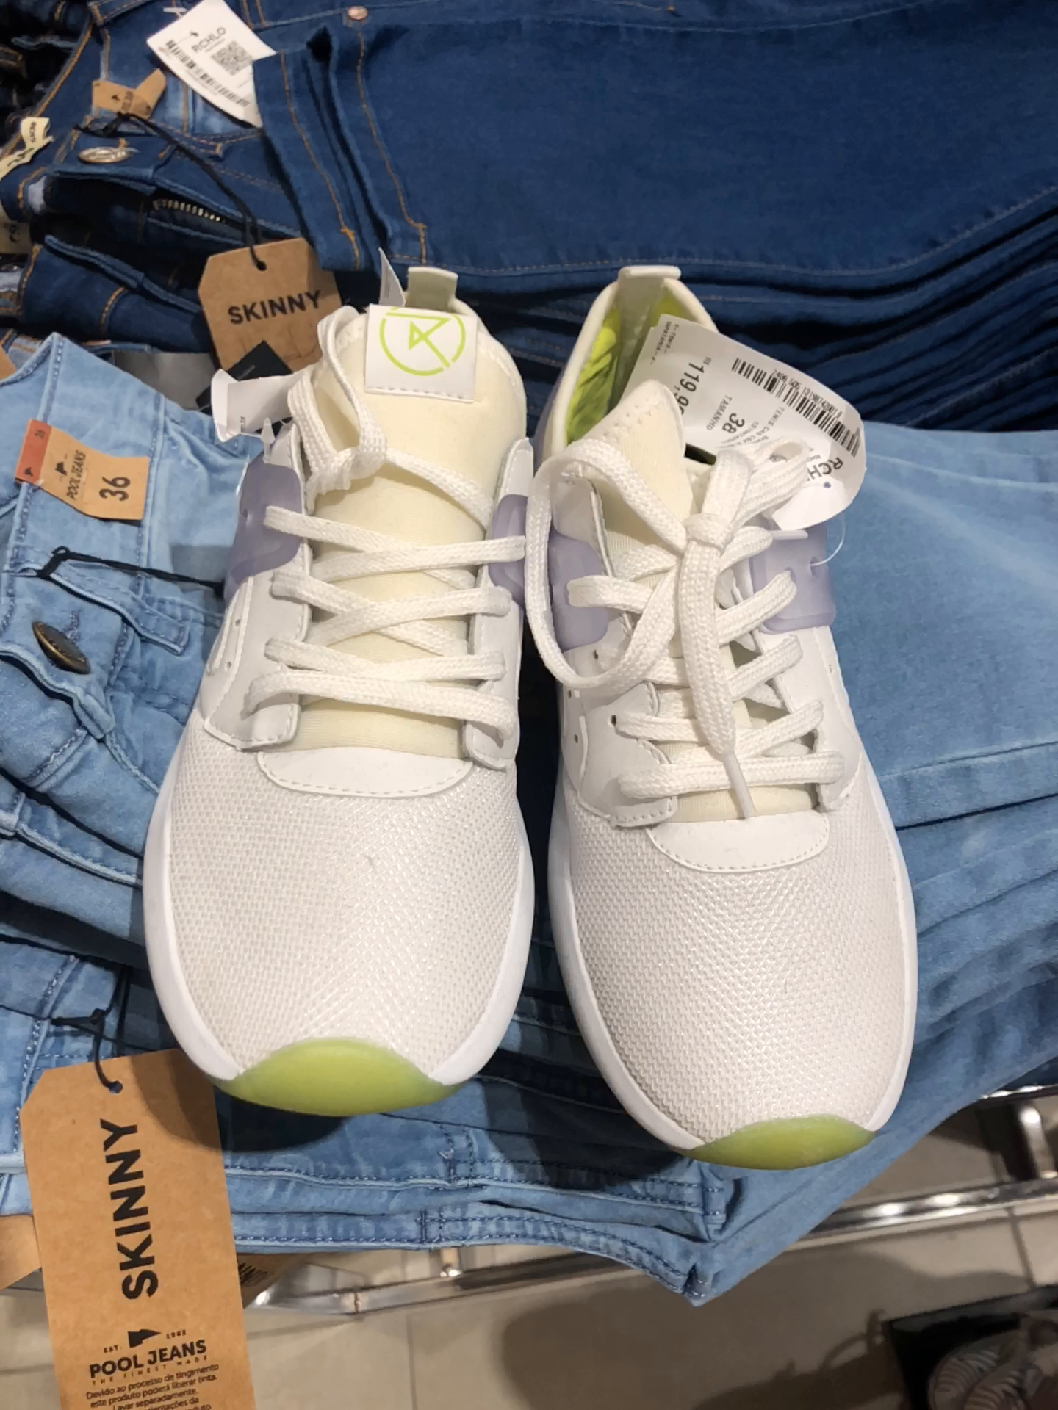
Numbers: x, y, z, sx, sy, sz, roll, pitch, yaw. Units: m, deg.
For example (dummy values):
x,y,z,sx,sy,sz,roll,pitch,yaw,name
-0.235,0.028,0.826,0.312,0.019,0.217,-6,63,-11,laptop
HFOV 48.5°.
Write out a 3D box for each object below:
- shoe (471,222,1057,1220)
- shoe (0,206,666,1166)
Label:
x,y,z,sx,sy,sz,roll,pitch,yaw,name
0.049,-0.005,0.322,0.100,0.090,0.251,-7,61,0,shoe
-0.043,-0.029,0.326,0.110,0.119,0.261,5,39,-6,shoe
